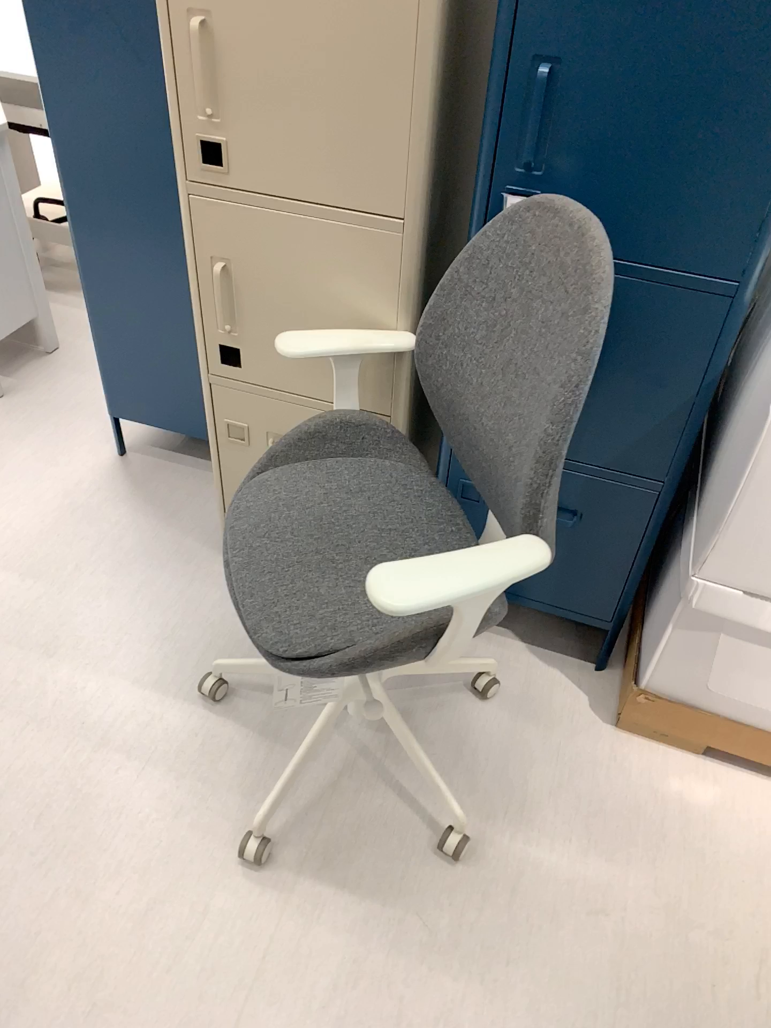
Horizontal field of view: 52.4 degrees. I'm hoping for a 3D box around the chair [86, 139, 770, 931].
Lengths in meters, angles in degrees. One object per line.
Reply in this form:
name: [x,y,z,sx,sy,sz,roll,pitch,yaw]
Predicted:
chair: [-0.024,0.044,1.250,0.670,0.996,0.652,-9,43,-14]
